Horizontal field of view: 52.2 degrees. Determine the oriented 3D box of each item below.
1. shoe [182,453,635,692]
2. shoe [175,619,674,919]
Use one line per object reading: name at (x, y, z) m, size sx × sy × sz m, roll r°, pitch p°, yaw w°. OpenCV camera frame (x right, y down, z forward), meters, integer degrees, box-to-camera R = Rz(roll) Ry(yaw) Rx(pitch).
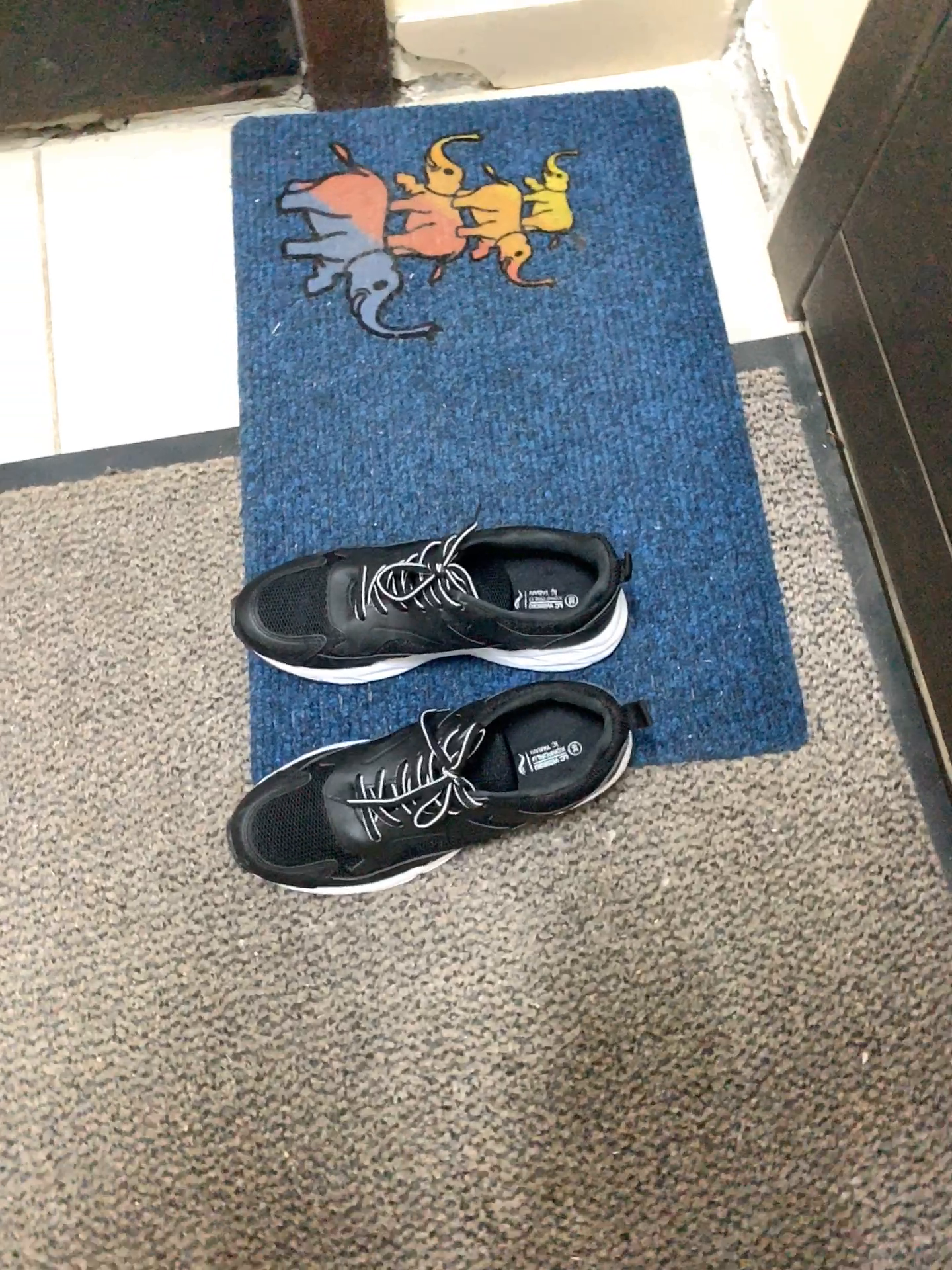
shoe at (-0.042, -0.037, 0.621) m, size 0.260 × 0.100 × 0.110 m, roll -3°, pitch 72°, yaw -2°
shoe at (-0.031, 0.084, 0.586) m, size 0.260 × 0.100 × 0.110 m, roll -12°, pitch 72°, yaw -4°
